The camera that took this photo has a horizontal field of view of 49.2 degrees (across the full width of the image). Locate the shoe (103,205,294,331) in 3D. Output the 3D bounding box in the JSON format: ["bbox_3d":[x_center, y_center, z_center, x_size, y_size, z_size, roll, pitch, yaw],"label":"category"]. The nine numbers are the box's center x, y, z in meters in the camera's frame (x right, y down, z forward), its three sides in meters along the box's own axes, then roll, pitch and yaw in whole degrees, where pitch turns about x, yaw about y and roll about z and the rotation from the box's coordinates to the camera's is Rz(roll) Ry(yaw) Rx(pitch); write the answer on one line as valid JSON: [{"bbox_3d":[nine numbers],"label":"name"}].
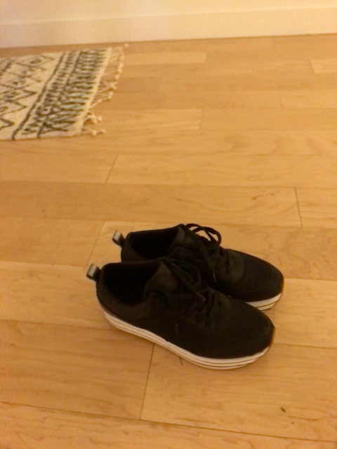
[{"bbox_3d":[0.052,0.069,0.616,0.280,0.139,0.101,8,44,15],"label":"shoe"}]

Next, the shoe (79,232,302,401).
[{"bbox_3d":[0.030,0.130,0.553,0.290,0.139,0.101,15,47,22],"label":"shoe"}]
